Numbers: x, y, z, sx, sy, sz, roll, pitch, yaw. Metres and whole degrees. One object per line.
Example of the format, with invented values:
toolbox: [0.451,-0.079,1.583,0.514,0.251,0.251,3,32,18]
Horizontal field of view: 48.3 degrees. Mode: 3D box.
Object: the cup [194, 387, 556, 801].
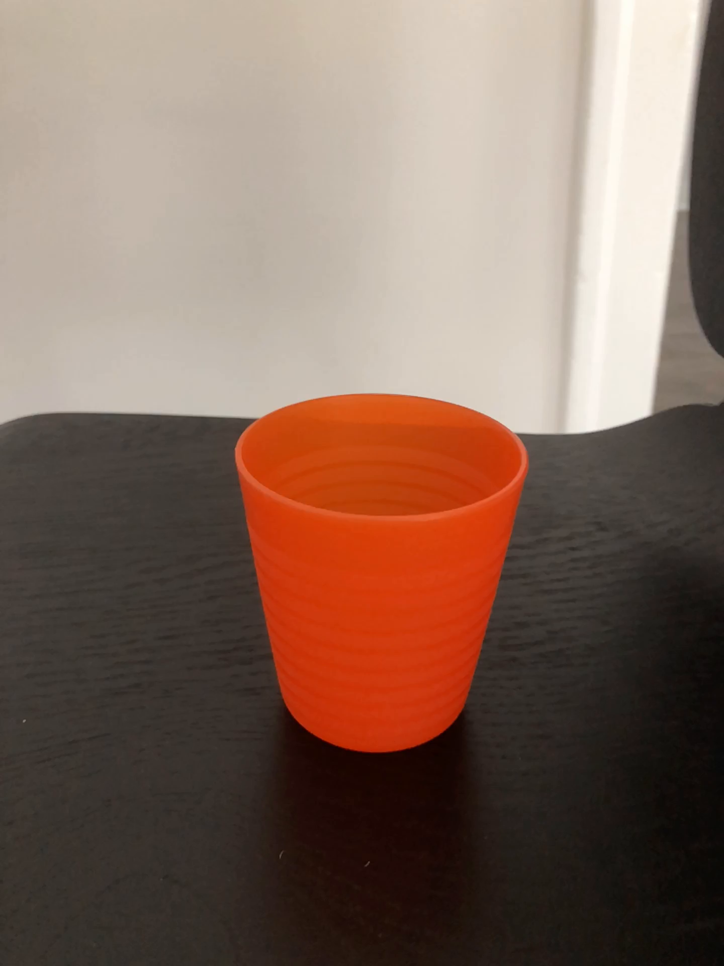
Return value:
cup: [0.010,0.026,0.230,0.080,0.080,0.080,-3,28,2]
